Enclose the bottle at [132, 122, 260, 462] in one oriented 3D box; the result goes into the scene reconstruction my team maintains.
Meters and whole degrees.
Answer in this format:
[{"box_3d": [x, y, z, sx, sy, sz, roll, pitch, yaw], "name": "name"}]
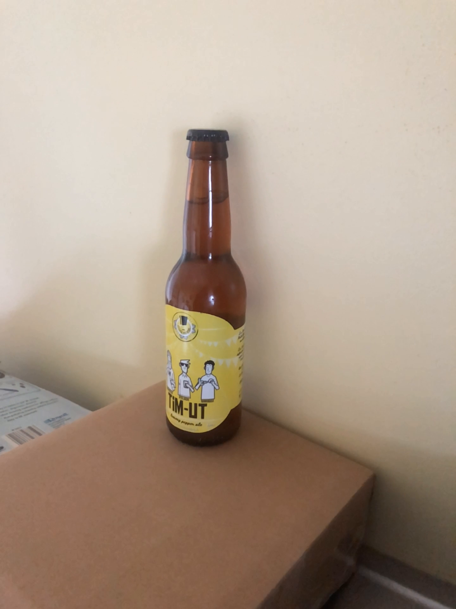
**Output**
[{"box_3d": [-0.022, -0.010, 0.366, 0.060, 0.229, 0.060, 1, 17, 0], "name": "bottle"}]
